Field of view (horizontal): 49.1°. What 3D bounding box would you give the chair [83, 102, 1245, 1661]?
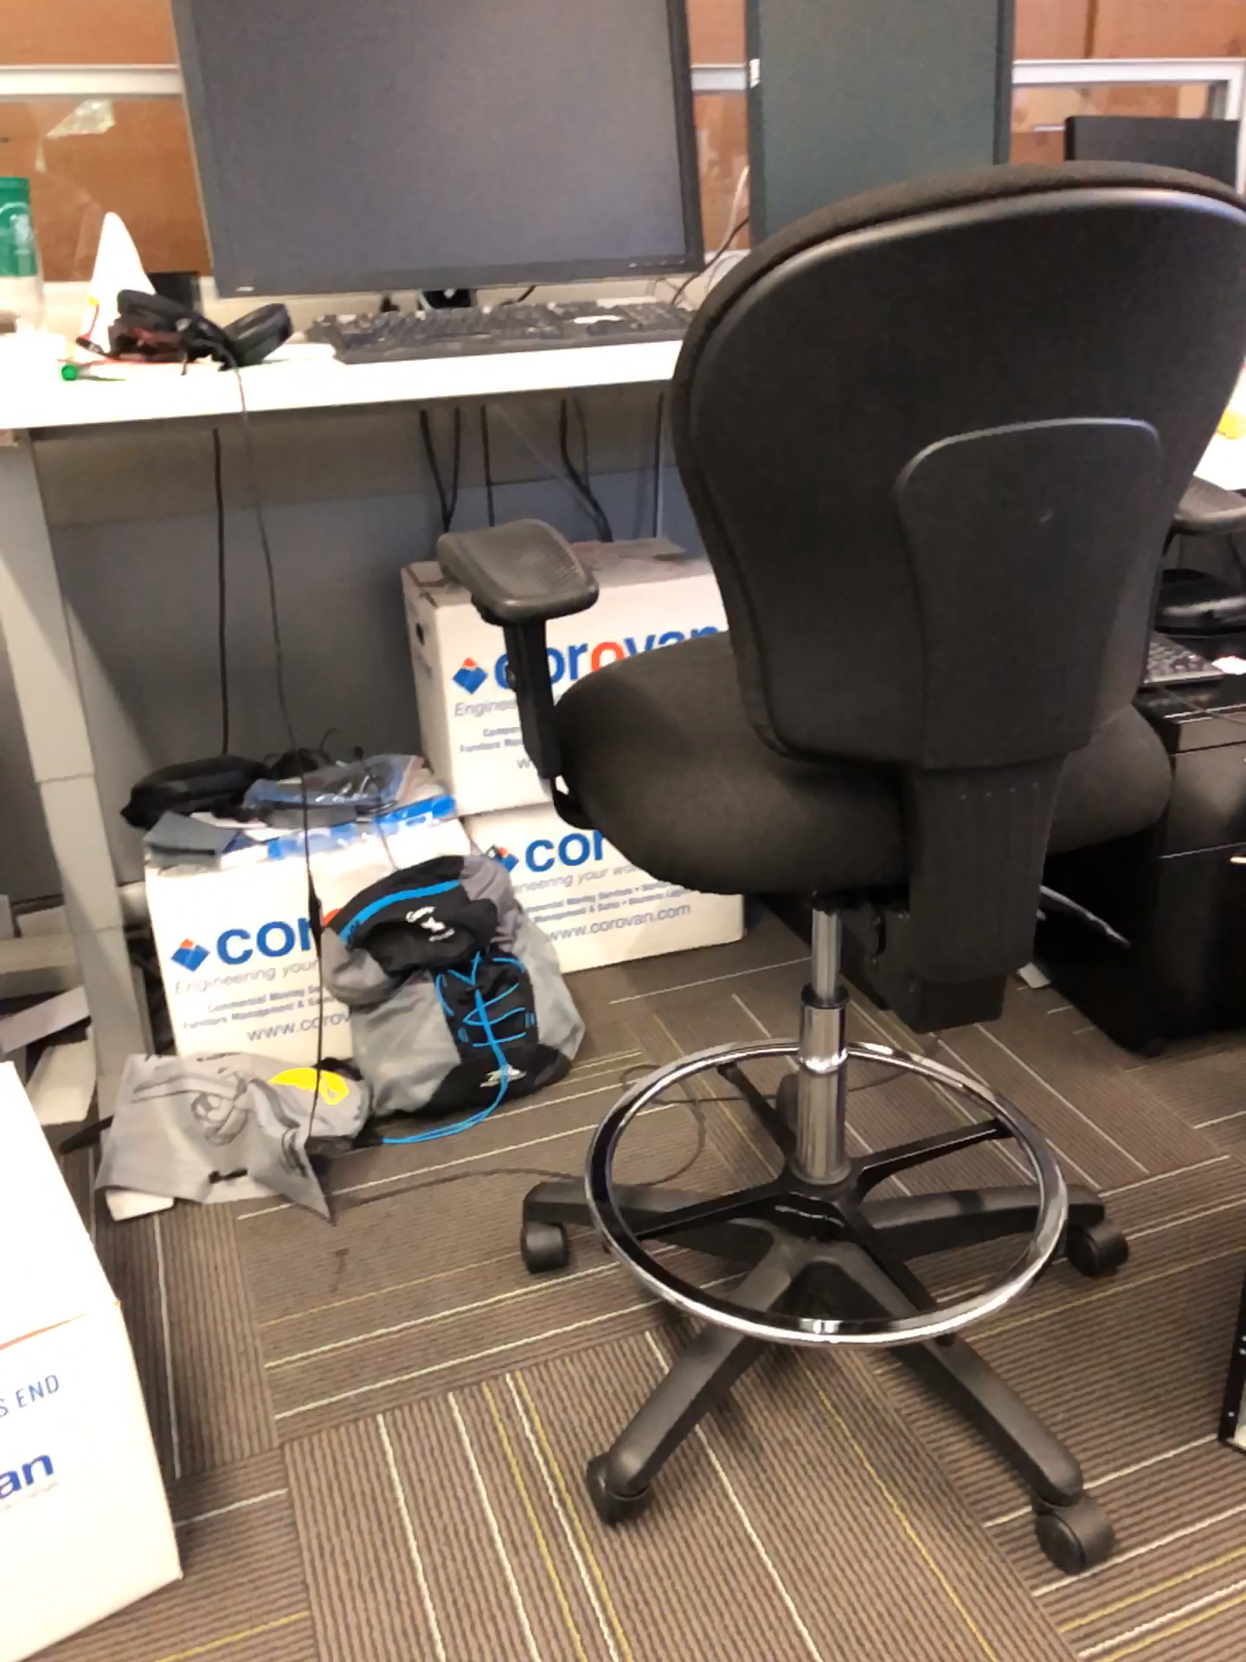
[{"bbox_3d":[0.091,-0.008,1.277,0.890,1.104,0.964,-11,25,-19],"label":"chair"}]
